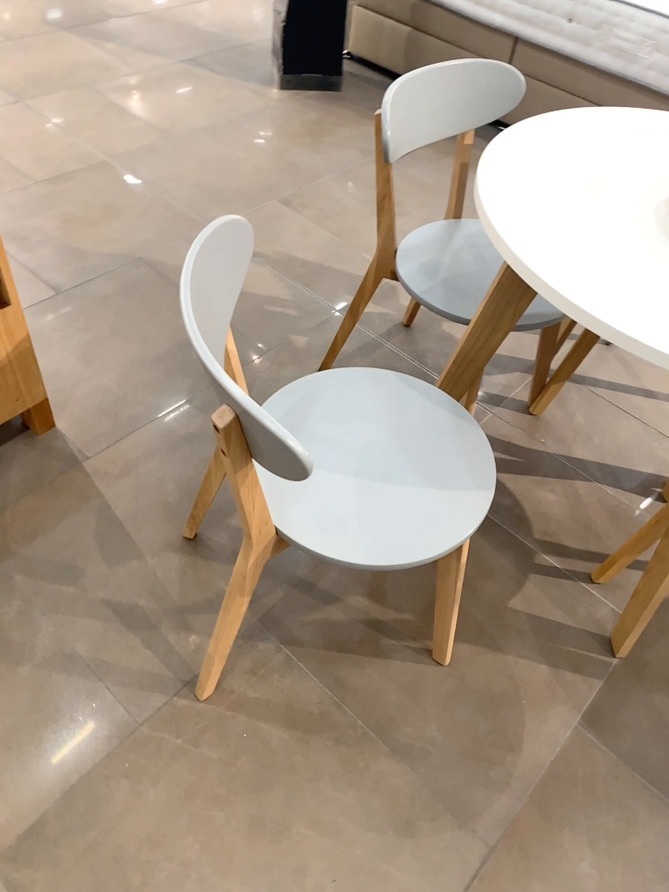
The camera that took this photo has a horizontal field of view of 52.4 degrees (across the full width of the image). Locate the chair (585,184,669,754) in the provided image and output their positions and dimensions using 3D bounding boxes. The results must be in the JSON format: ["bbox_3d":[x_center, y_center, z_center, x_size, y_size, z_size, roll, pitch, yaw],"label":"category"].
[{"bbox_3d":[0.995,0.063,1.302,0.542,0.799,0.522,39,55,24],"label":"chair"}]

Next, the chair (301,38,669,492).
[{"bbox_3d":[0.319,-0.431,1.675,0.542,0.799,0.522,38,54,24],"label":"chair"}]

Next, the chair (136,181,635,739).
[{"bbox_3d":[-0.014,0.053,1.178,0.531,0.799,0.523,-6,50,-13],"label":"chair"}]
